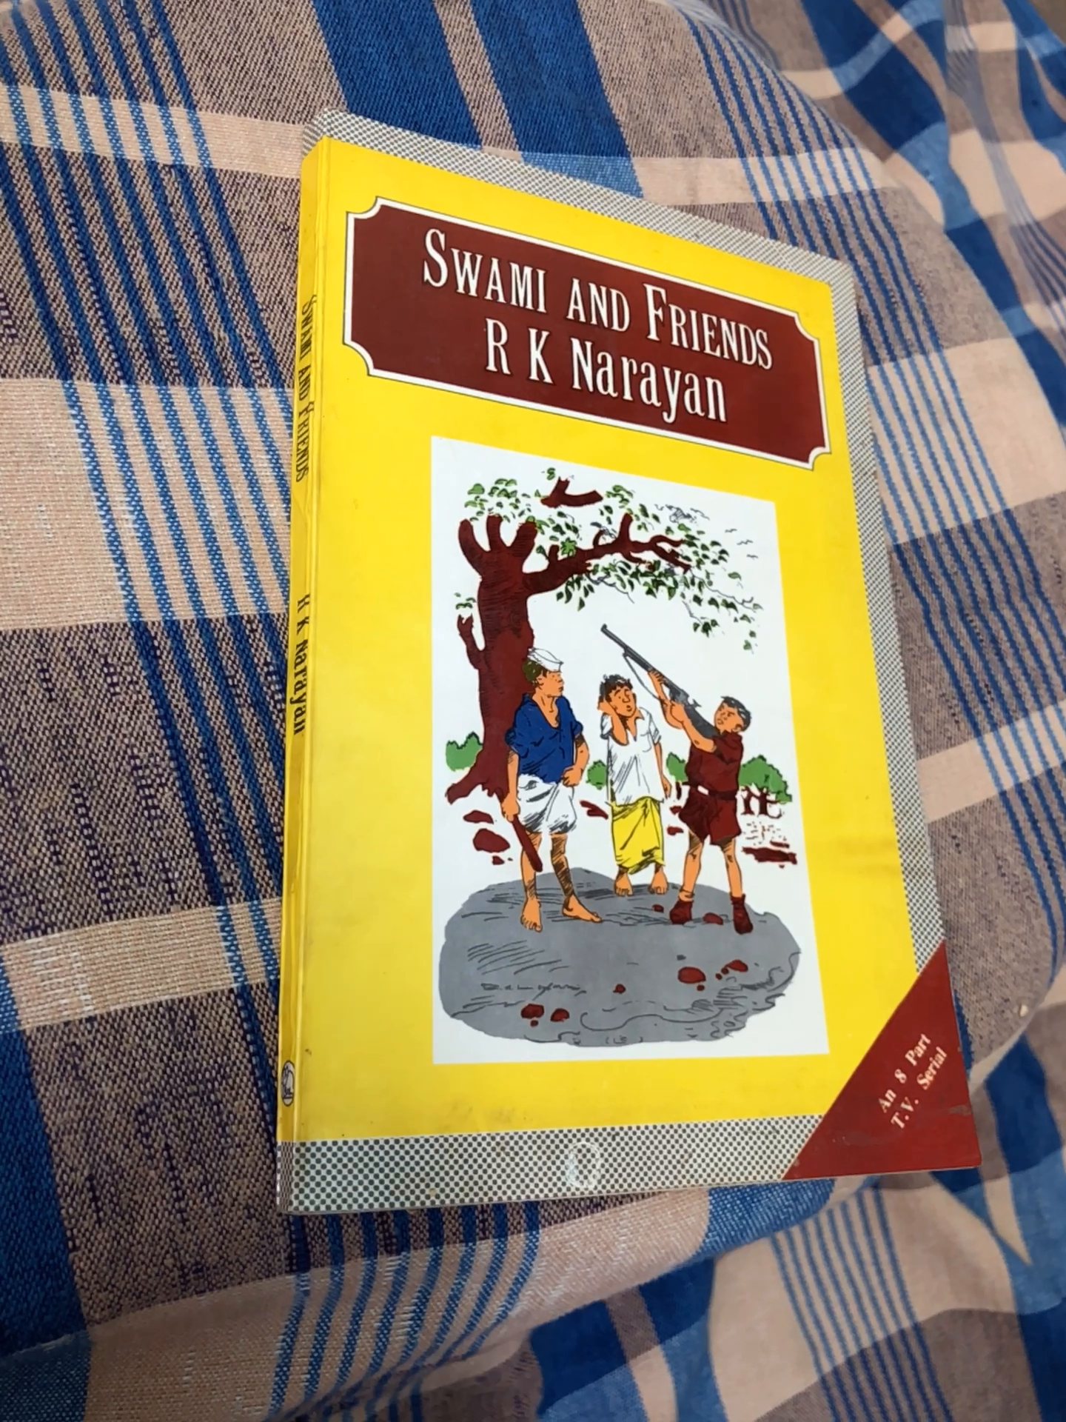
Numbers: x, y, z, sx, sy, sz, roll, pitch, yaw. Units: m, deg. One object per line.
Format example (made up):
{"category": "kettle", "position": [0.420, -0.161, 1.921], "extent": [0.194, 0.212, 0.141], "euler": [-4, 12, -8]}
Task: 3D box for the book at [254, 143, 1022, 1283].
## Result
{"category": "book", "position": [0.020, -0.004, 0.224], "extent": [0.130, 0.020, 0.190], "euler": [6, 70, -23]}
